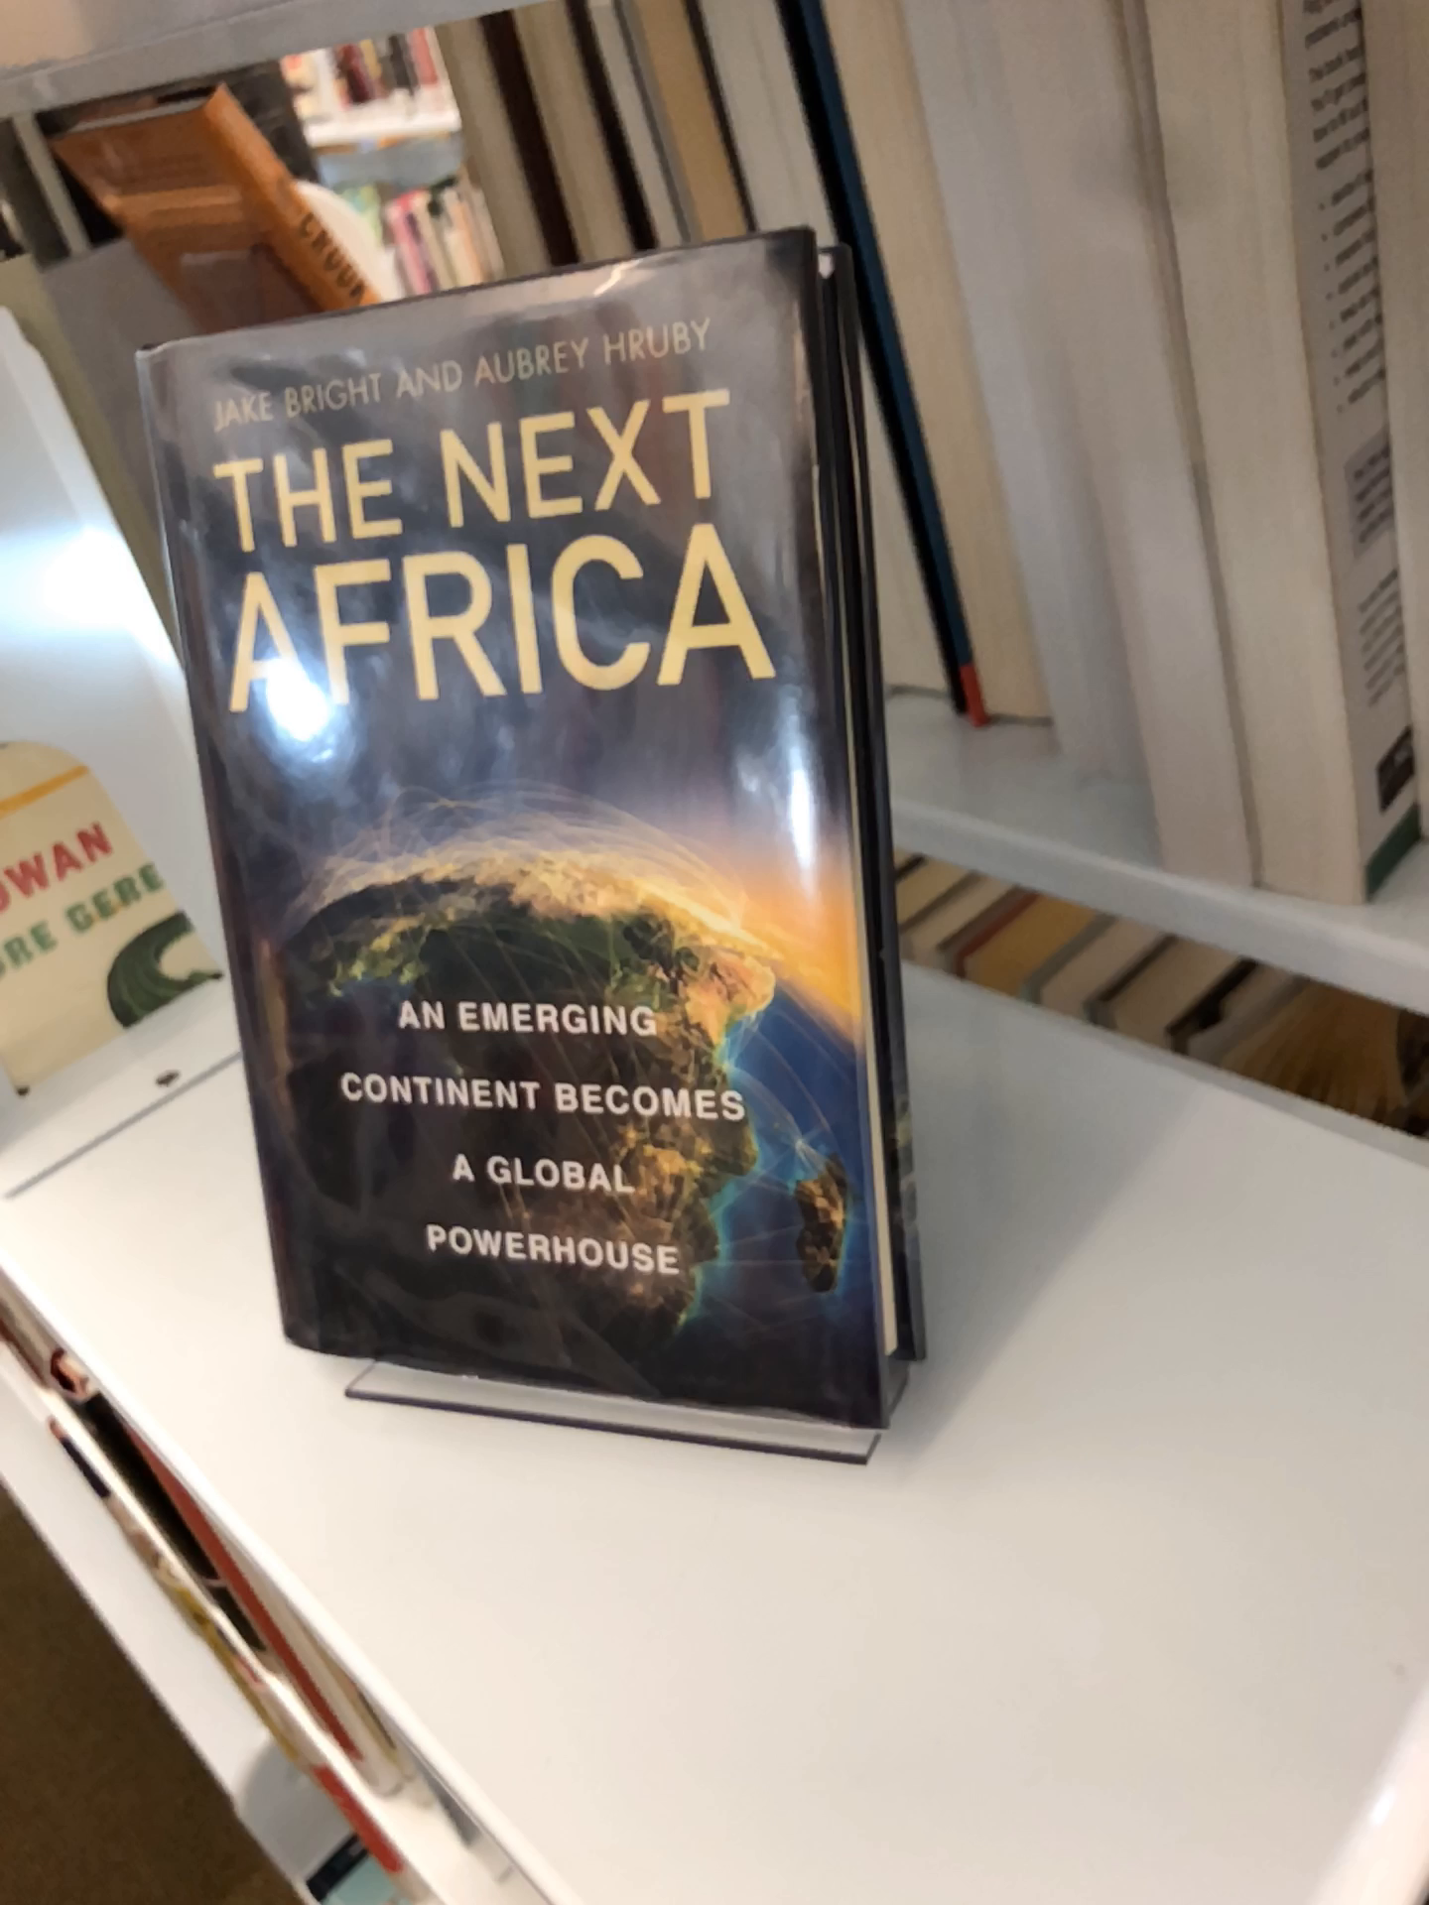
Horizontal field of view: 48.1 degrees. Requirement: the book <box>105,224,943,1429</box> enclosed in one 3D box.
[{"bbox_3d":[-0.038,-0.018,0.323,0.153,0.211,0.030,0,12,24],"label":"book"}]
